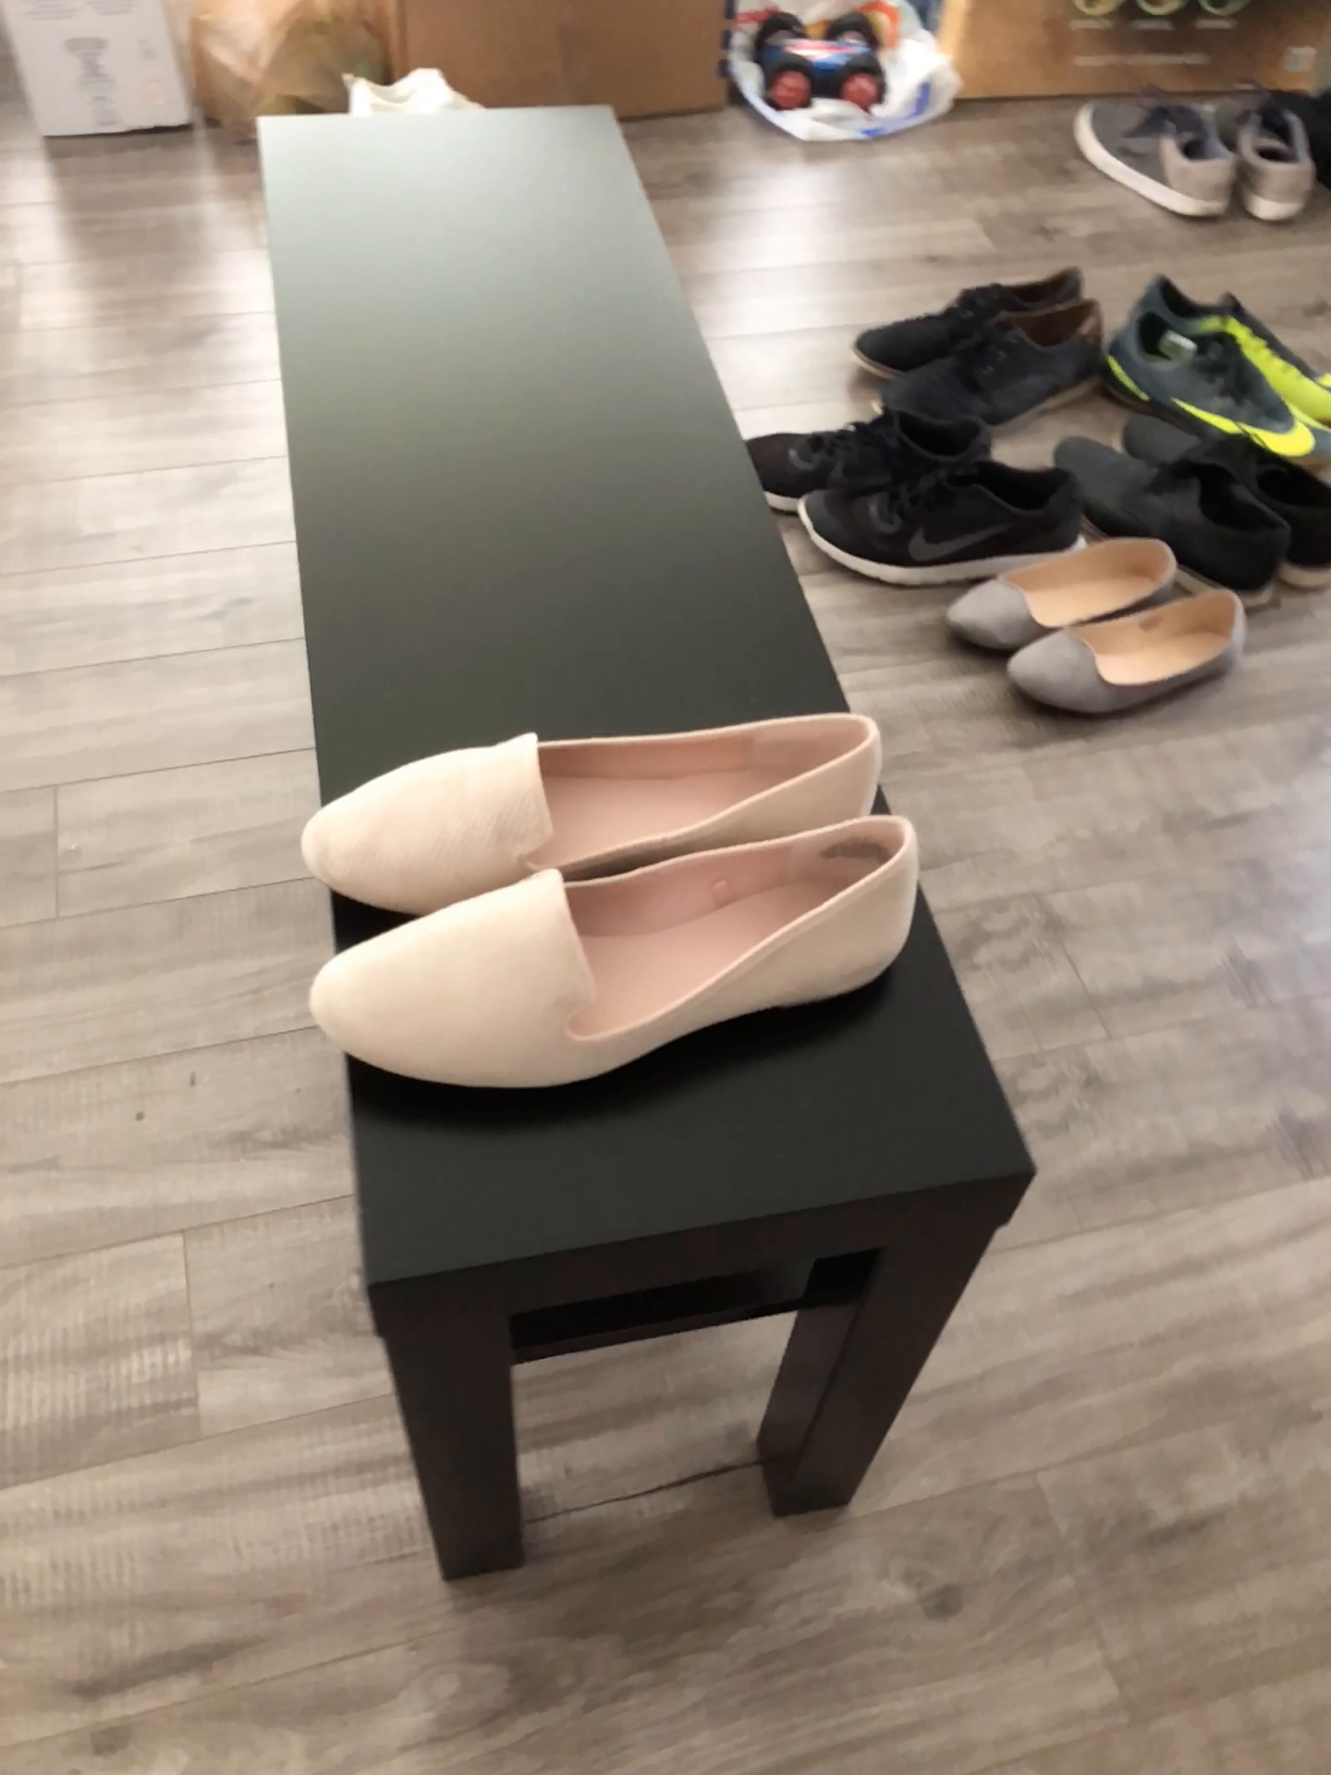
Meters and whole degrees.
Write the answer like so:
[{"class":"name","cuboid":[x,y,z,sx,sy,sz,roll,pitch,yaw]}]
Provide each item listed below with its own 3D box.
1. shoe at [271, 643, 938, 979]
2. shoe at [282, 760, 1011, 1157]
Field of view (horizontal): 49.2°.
[{"class":"shoe","cuboid":[-0.028,-0.035,0.617,0.259,0.070,0.090,-7,53,-10]},{"class":"shoe","cuboid":[-0.008,0.024,0.566,0.259,0.070,0.080,-11,53,-13]}]
